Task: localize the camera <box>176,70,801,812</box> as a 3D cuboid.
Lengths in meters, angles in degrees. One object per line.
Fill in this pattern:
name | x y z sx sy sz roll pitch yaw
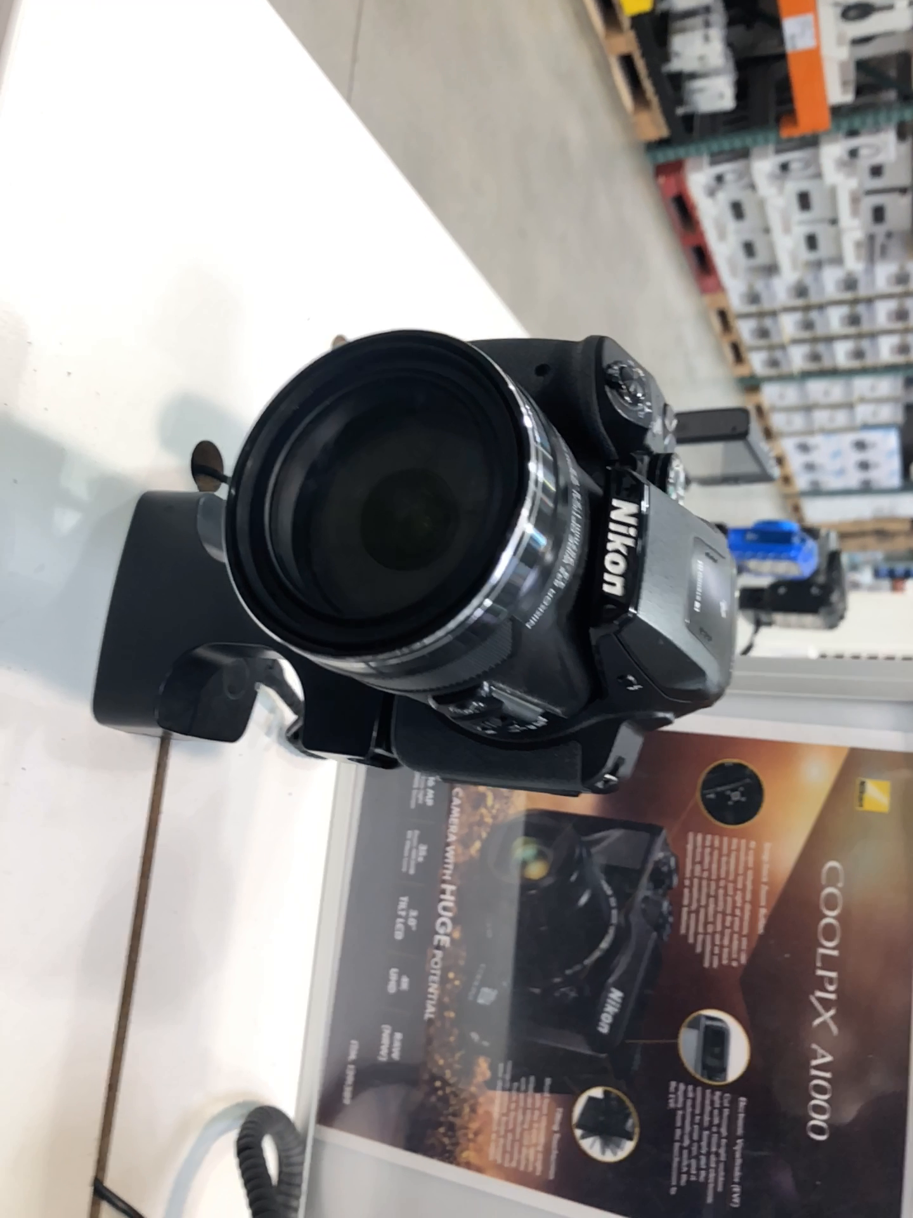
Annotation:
camera | 0.027 -0.026 0.282 0.151 0.109 0.140 33 62 -62
